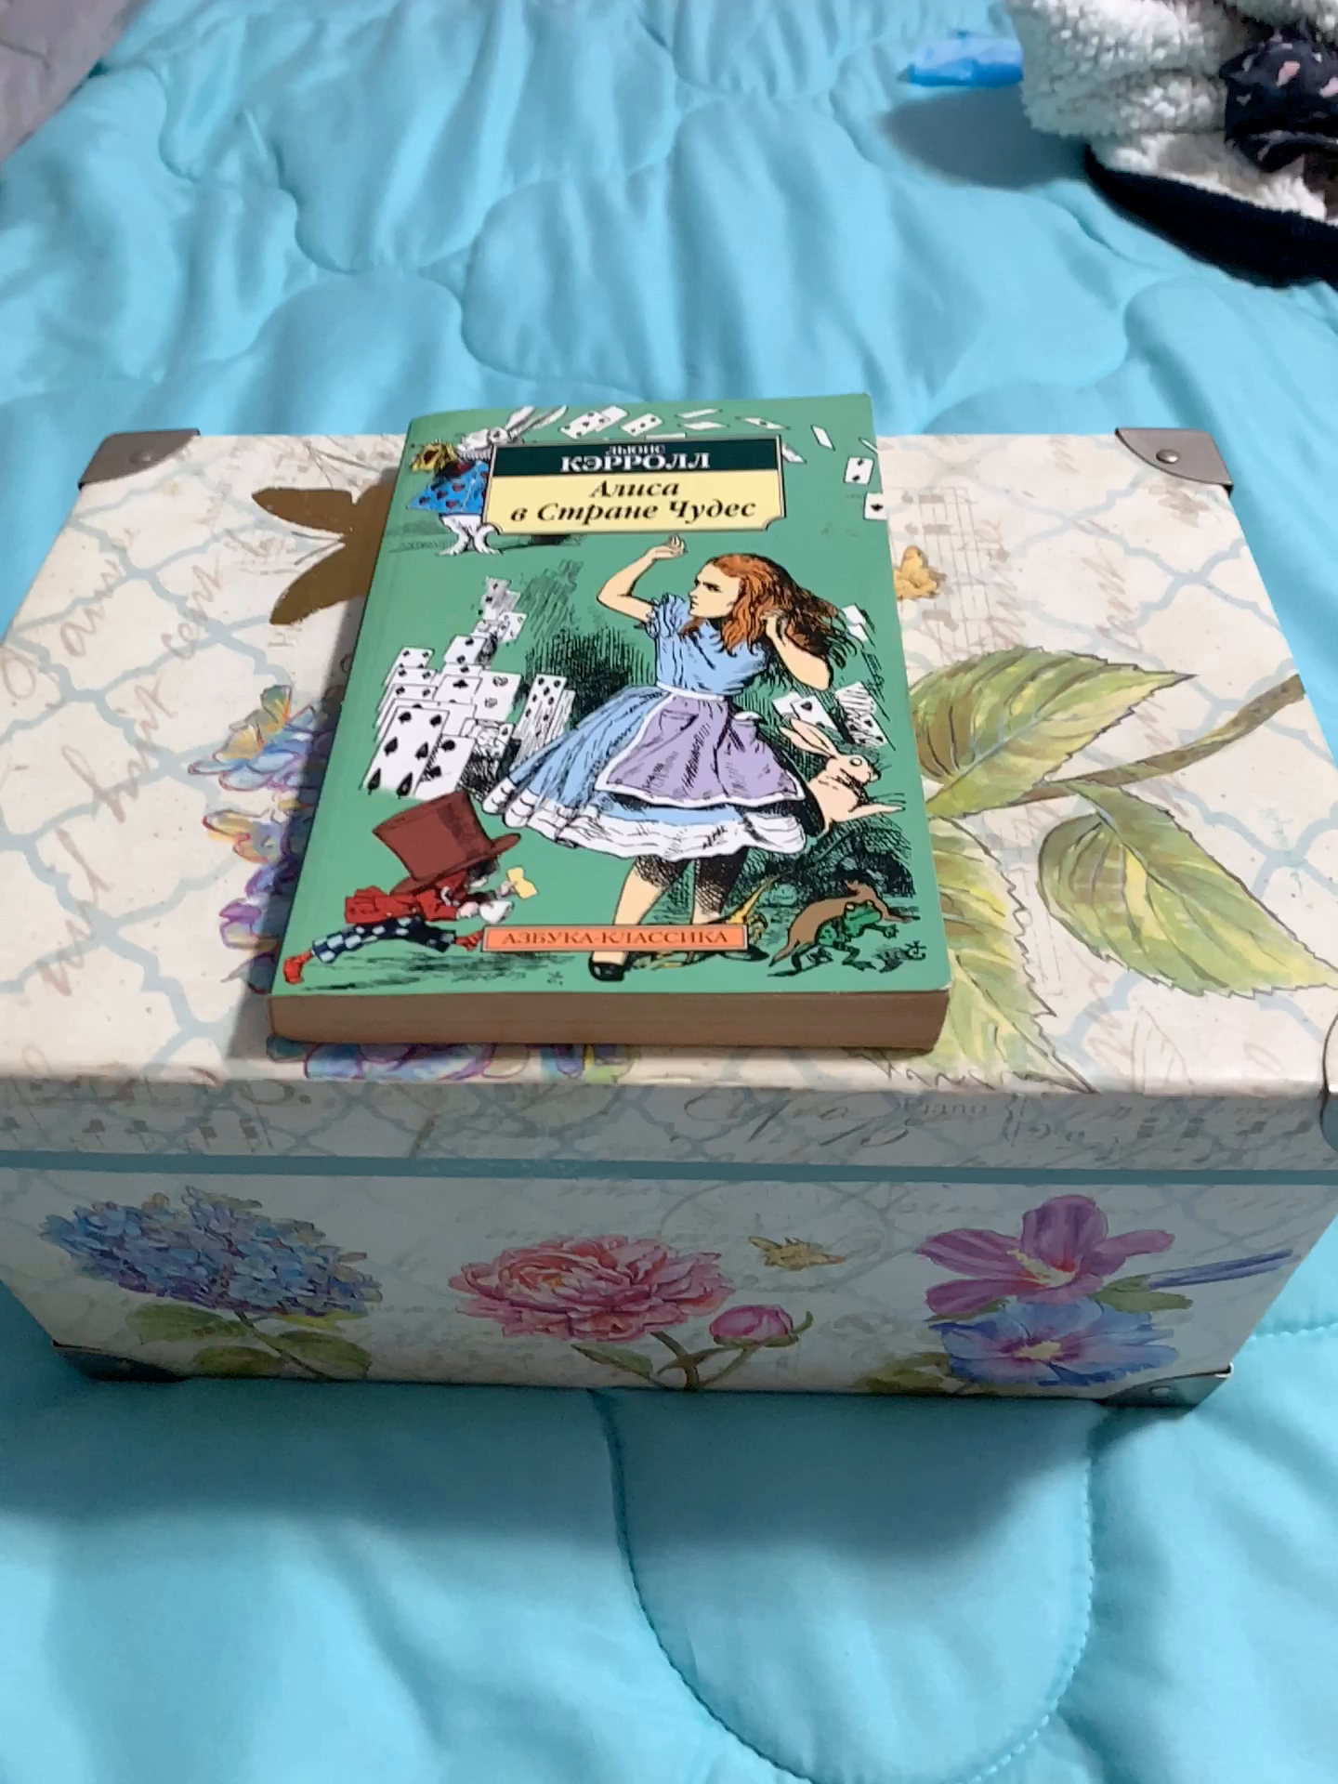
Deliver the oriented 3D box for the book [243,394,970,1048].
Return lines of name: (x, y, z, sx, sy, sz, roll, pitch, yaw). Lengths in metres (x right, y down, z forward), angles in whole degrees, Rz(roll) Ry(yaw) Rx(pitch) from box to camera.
book: (-0.010, -0.048, 0.289, 0.118, 0.018, 0.180, 0, 50, 0)
